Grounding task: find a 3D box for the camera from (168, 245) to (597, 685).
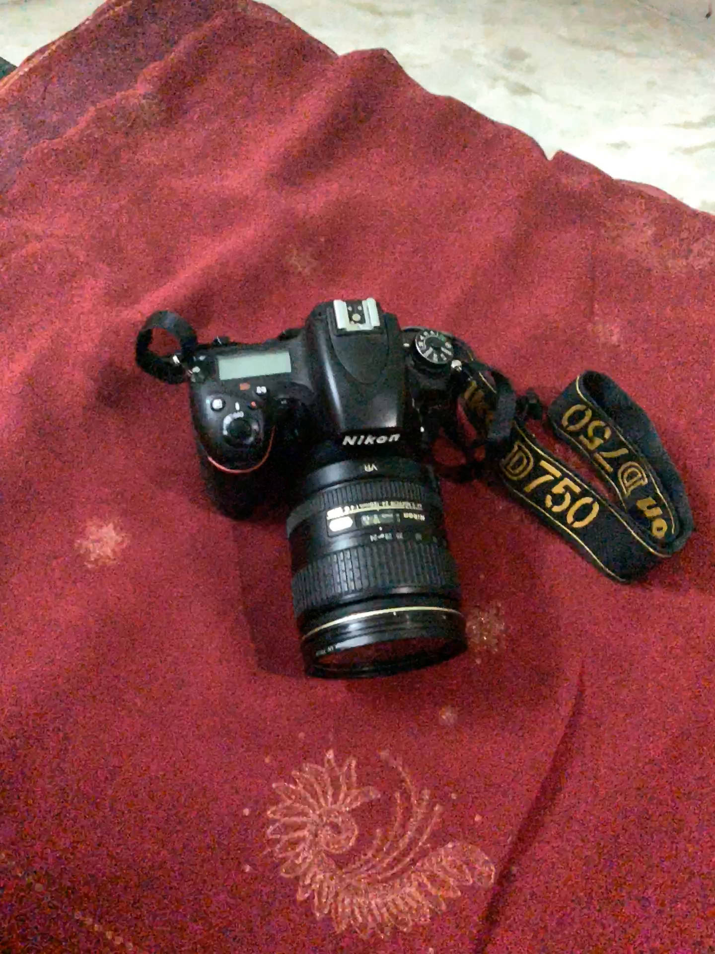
[{"bbox_3d":[-0.002,-0.005,0.341,0.150,0.110,0.160,-5,63,-7],"label":"camera"}]
